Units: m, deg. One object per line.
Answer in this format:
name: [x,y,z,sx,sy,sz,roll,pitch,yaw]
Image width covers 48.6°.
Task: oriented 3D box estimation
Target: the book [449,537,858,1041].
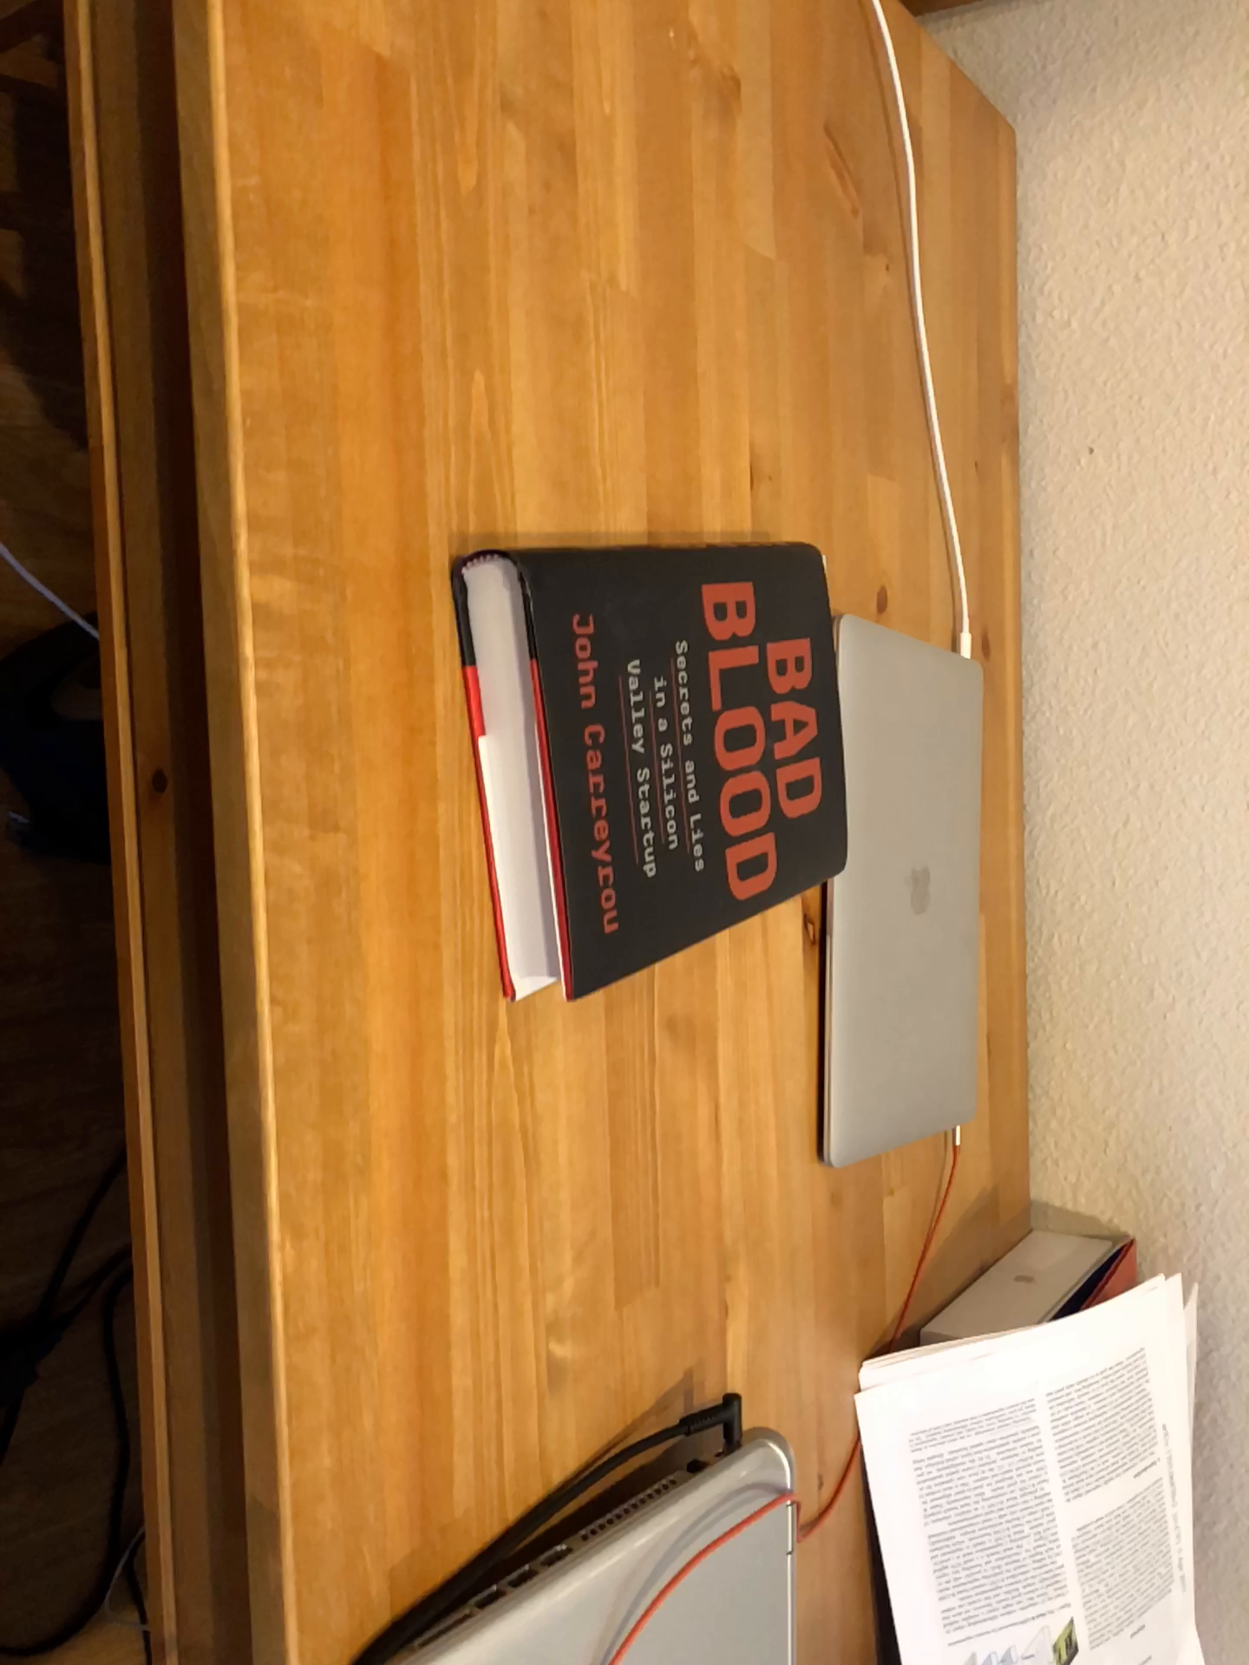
book: [0.029,-0.035,0.599,0.251,0.030,0.178,-19,105,-55]
